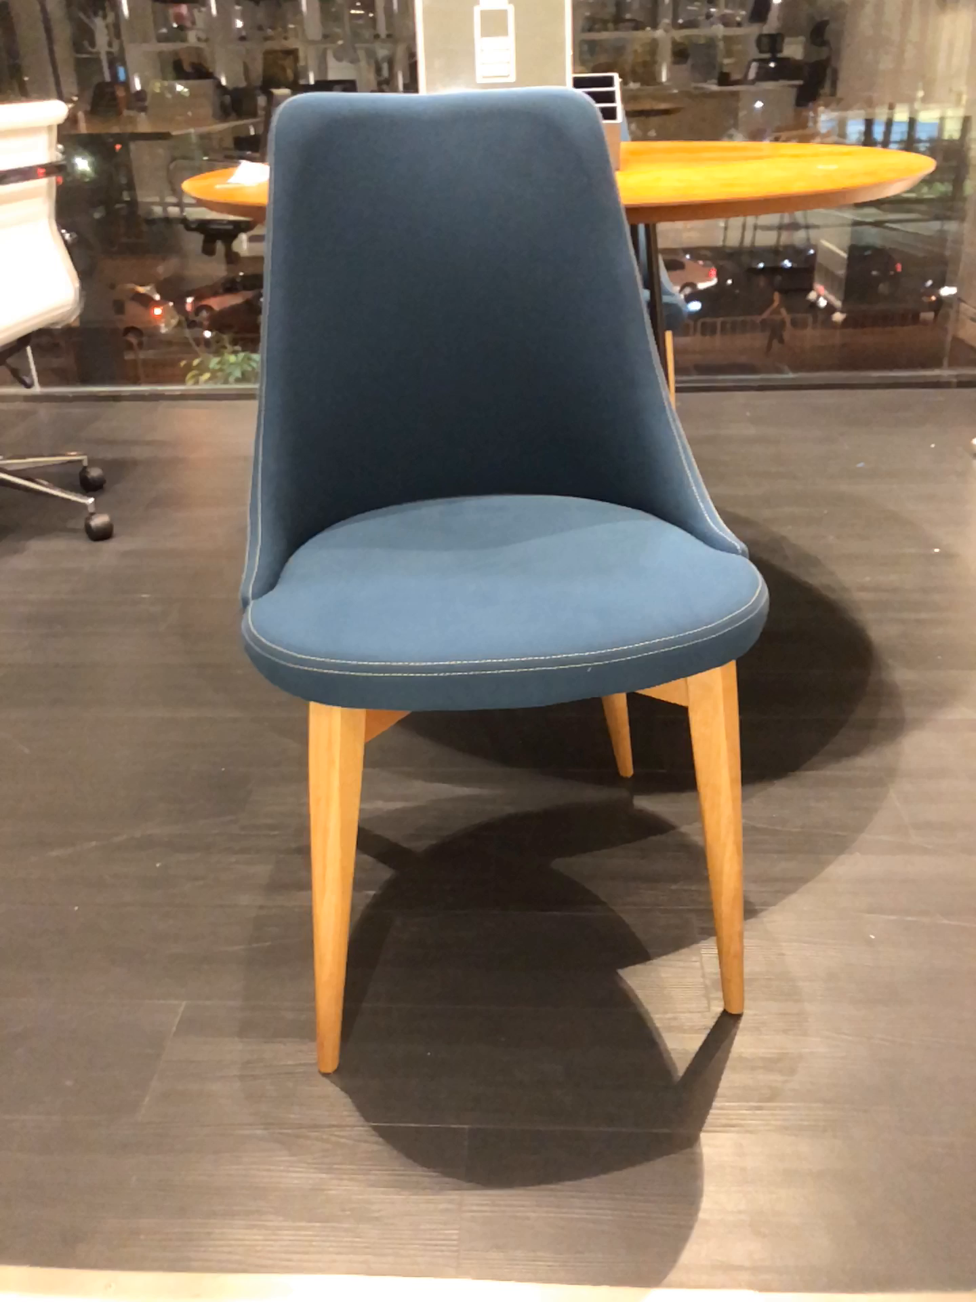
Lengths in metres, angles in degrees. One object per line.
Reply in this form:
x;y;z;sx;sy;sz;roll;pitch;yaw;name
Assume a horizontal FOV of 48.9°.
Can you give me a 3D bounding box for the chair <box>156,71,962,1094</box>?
0.027;-0.103;1.111;0.520;0.854;0.544;-6;28;-7;chair
